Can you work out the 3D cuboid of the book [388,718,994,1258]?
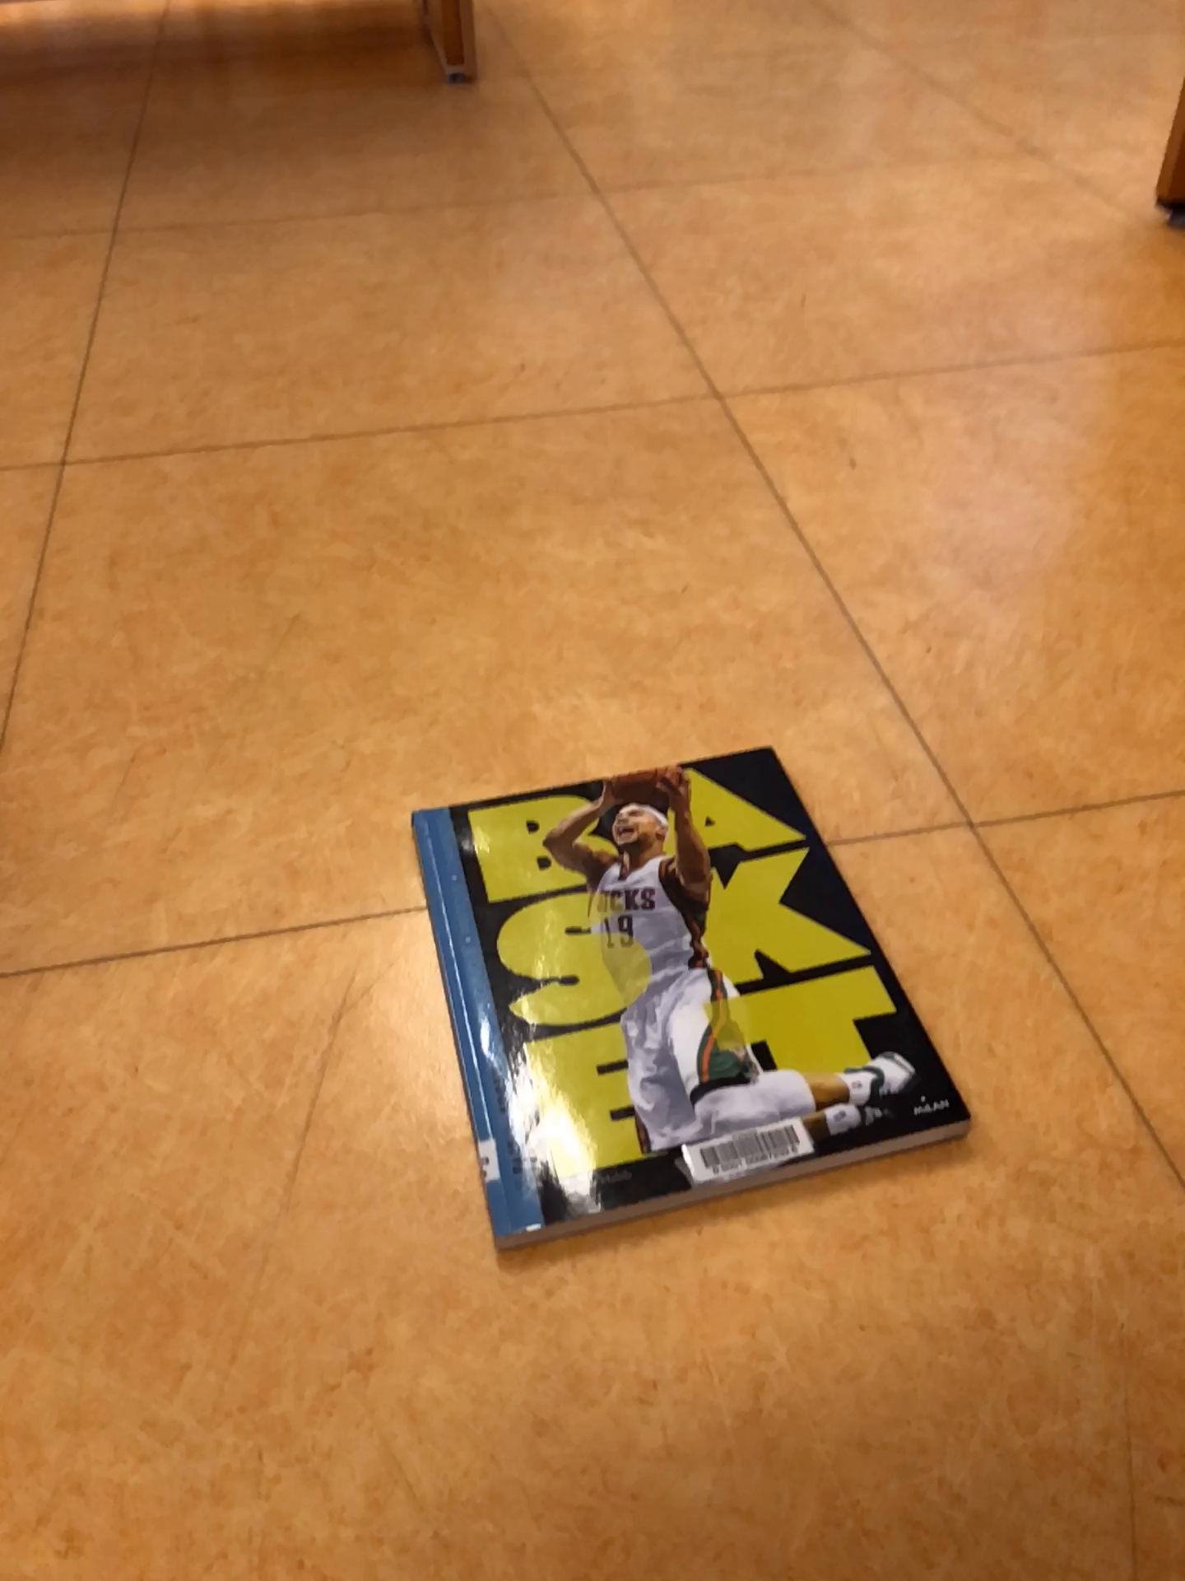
[{"bbox_3d":[0.027,0.067,0.576,0.200,0.020,0.245,-11,43,-10],"label":"book"}]
